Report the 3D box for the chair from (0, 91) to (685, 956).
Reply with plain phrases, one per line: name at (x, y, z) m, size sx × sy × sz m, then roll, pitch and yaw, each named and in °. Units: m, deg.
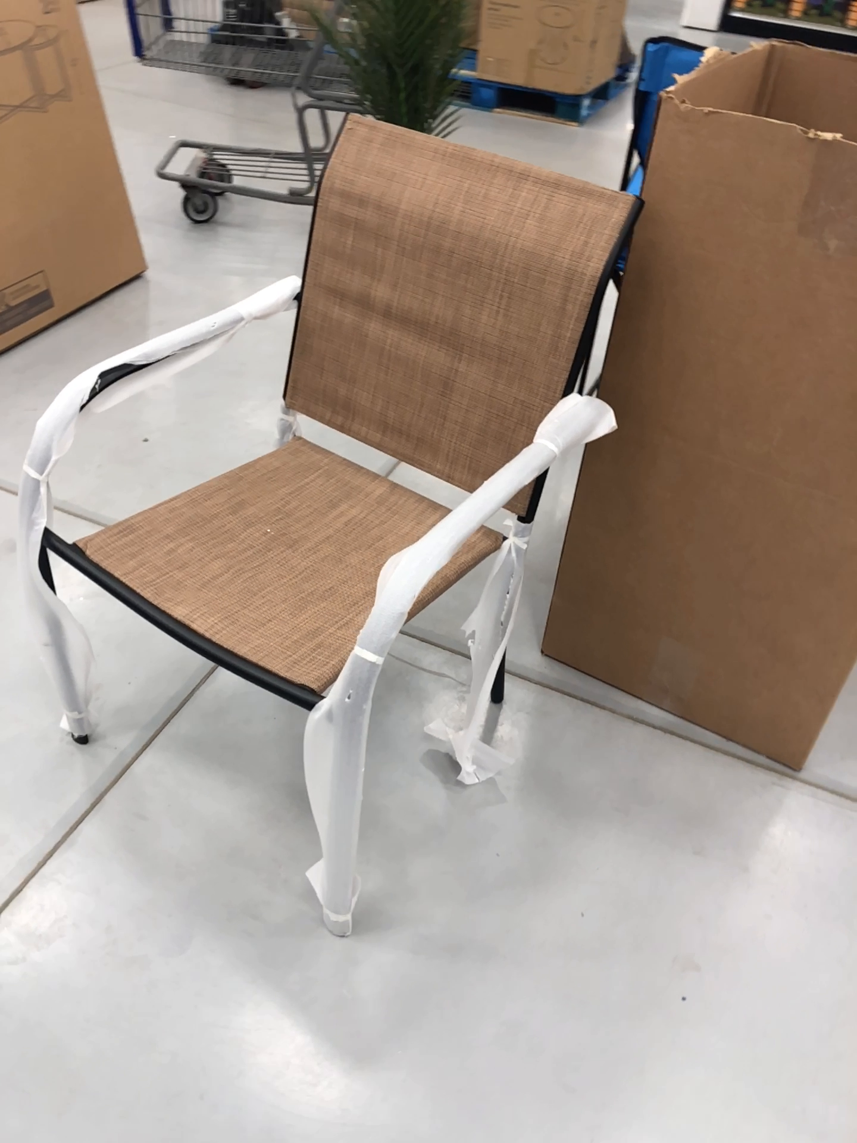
chair at (-0.153, -0.096, 1.342) m, size 0.621 × 0.876 × 0.632 m, roll 27°, pitch 44°, yaw 24°
